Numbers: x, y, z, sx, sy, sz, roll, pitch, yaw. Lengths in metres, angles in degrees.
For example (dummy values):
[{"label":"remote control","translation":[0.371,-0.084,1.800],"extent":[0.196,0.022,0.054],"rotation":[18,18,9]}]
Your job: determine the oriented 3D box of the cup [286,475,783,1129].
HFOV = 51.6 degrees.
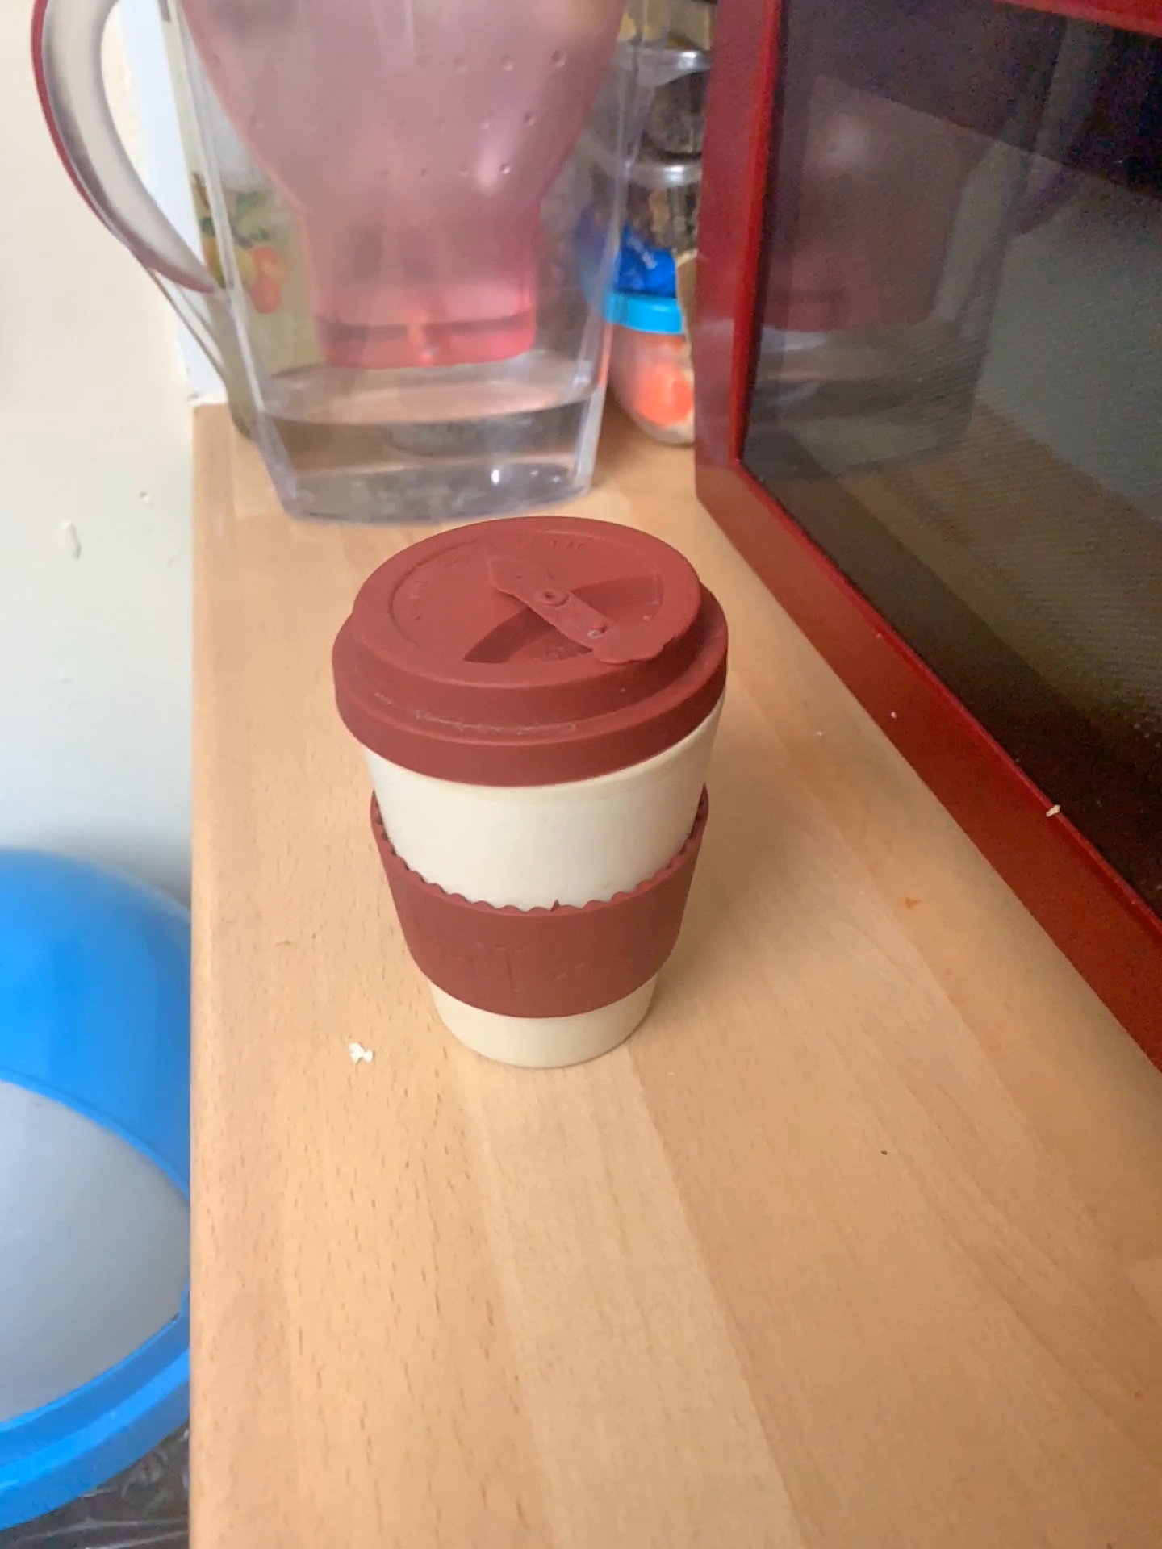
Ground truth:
[{"label":"cup","translation":[-0.014,0.005,0.293],"extent":[0.086,0.115,0.088],"rotation":[0,38,0]}]
